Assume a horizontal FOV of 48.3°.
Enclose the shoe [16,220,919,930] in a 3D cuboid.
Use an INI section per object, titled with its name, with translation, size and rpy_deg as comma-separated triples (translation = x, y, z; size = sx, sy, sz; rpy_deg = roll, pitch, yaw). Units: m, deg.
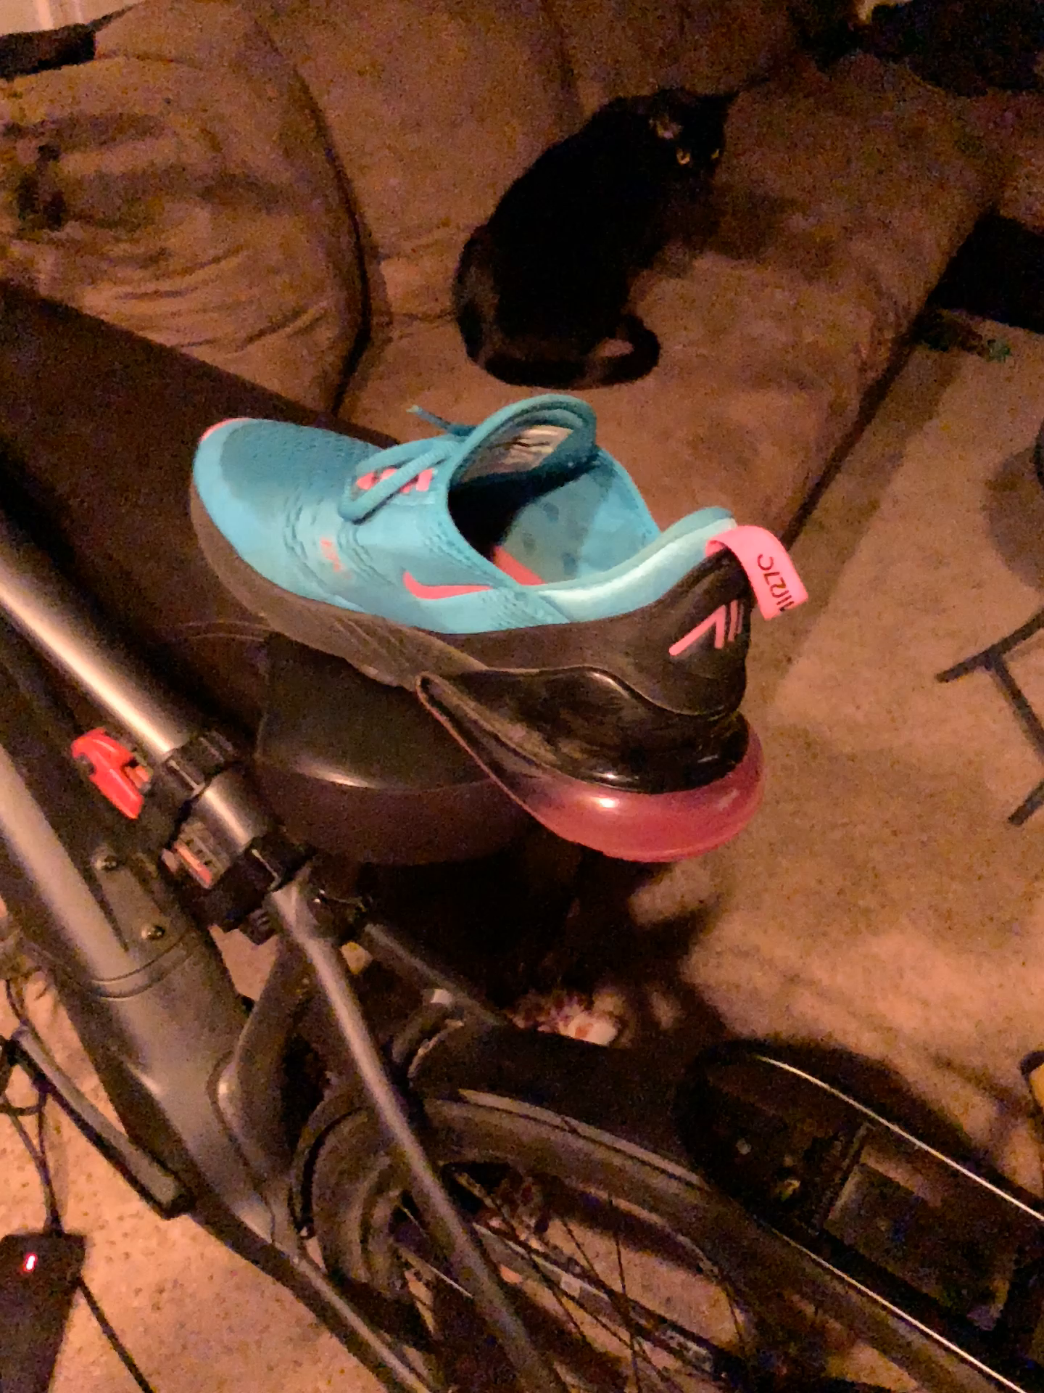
[shoe]
translation = -0.031, -0.071, 0.502
size = 0.330, 0.130, 0.150
rpy_deg = 28, 51, 23
